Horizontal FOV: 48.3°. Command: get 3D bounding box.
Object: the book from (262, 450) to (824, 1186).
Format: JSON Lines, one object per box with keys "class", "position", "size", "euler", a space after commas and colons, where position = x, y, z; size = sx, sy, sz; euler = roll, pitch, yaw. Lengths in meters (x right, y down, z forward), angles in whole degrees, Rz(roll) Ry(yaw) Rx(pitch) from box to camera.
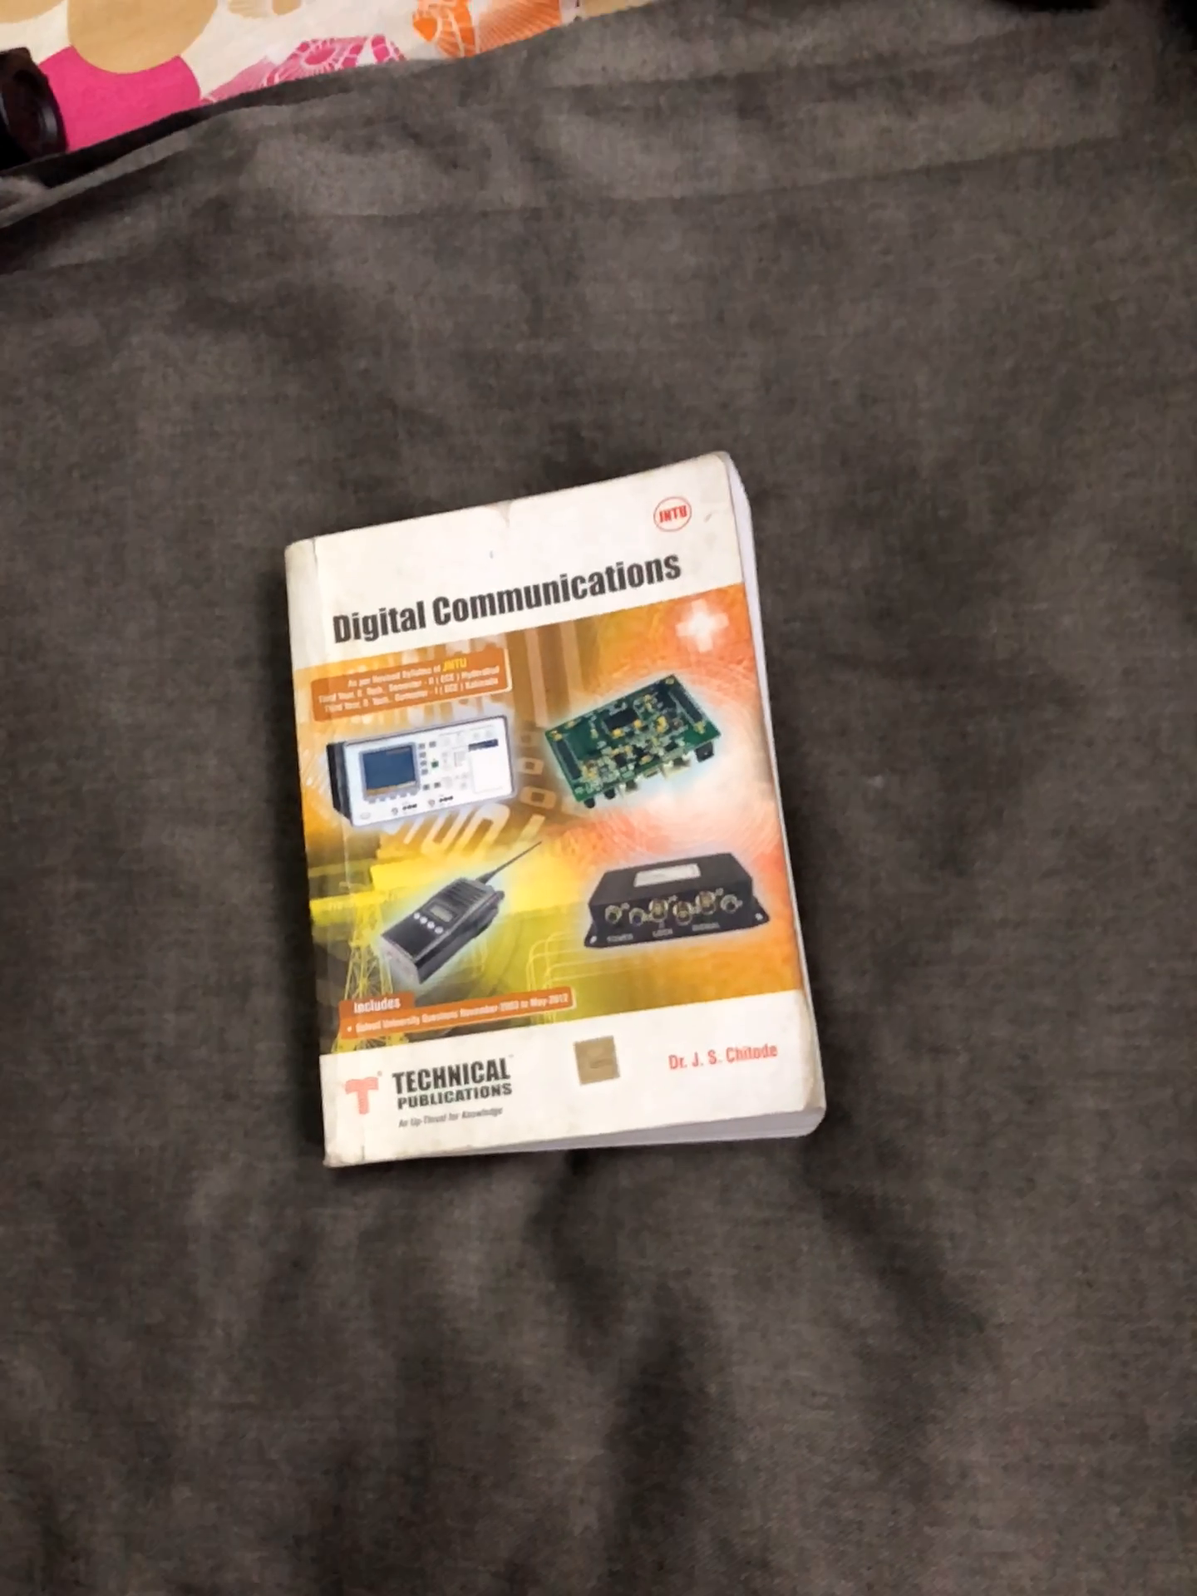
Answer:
{"class": "book", "position": [-0.025, 0.010, 0.496], "size": [0.182, 0.050, 0.241], "euler": [-8, 78, 12]}
